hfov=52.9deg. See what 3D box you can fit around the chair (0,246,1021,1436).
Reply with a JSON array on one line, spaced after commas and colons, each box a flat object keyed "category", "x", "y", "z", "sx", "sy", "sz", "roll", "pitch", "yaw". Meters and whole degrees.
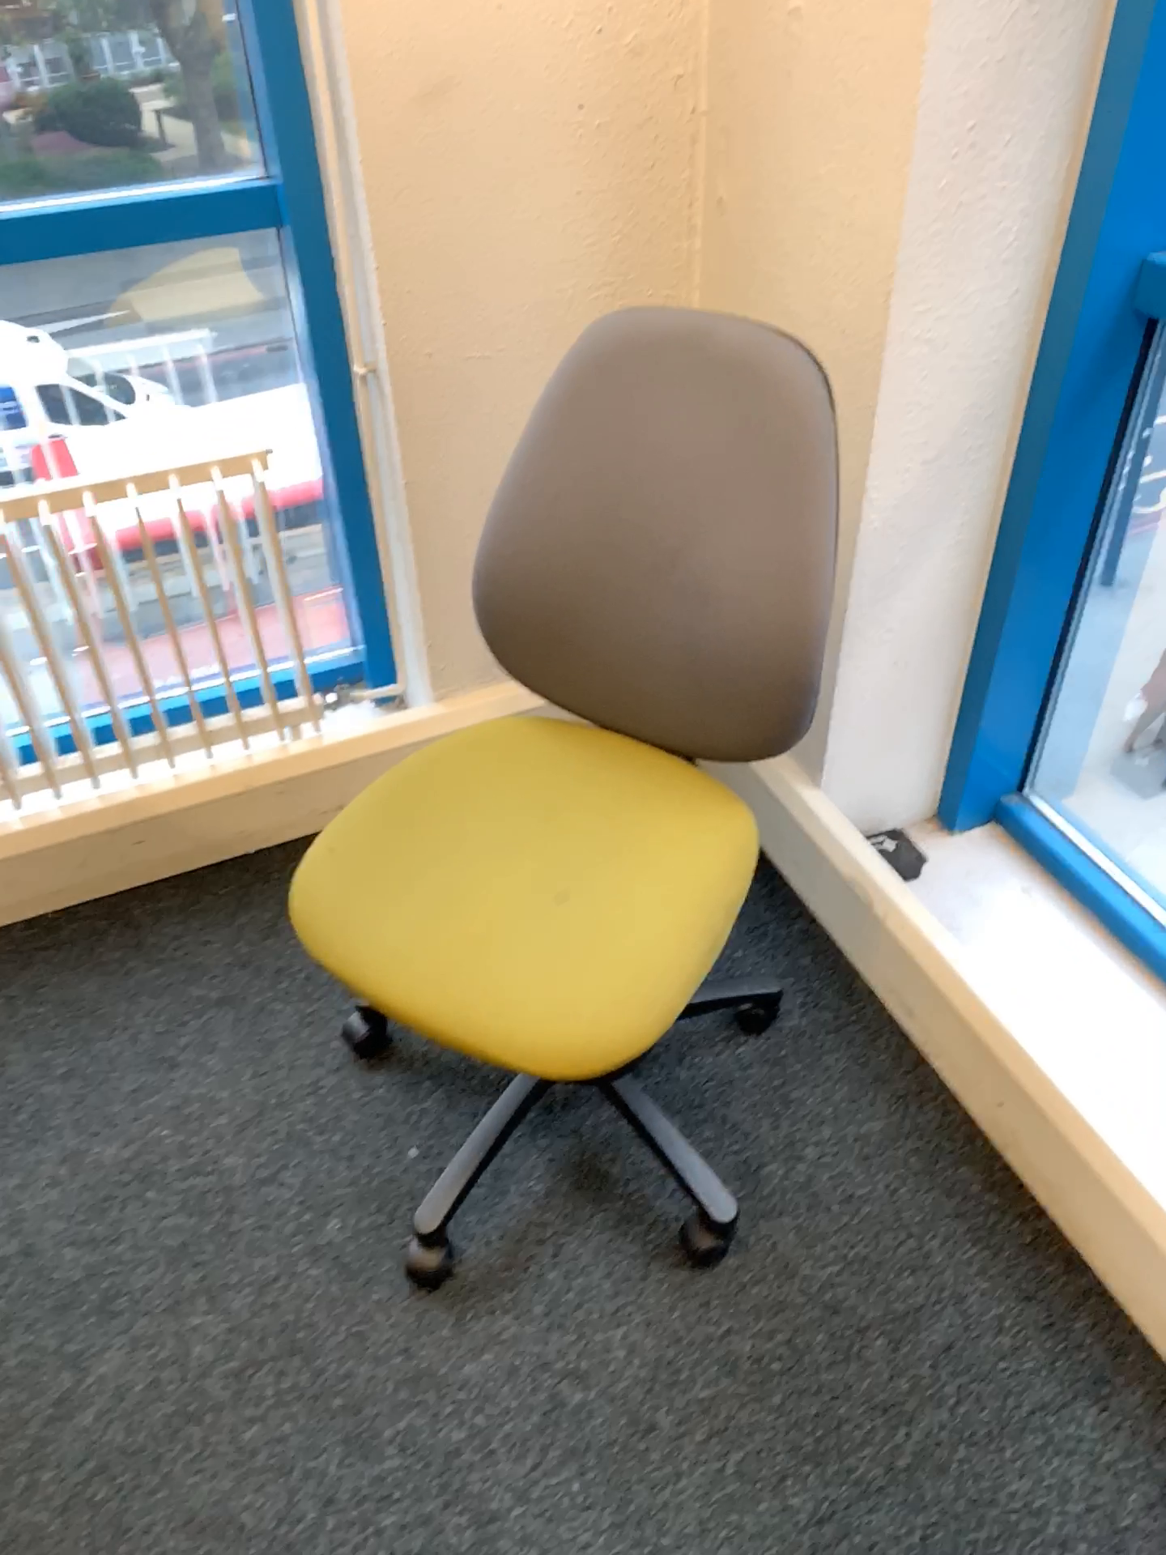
[{"category": "chair", "x": -0.060, "y": 0.026, "z": 1.265, "sx": 0.695, "sy": 0.876, "sz": 0.682, "roll": 20, "pitch": 45, "yaw": 24}]
